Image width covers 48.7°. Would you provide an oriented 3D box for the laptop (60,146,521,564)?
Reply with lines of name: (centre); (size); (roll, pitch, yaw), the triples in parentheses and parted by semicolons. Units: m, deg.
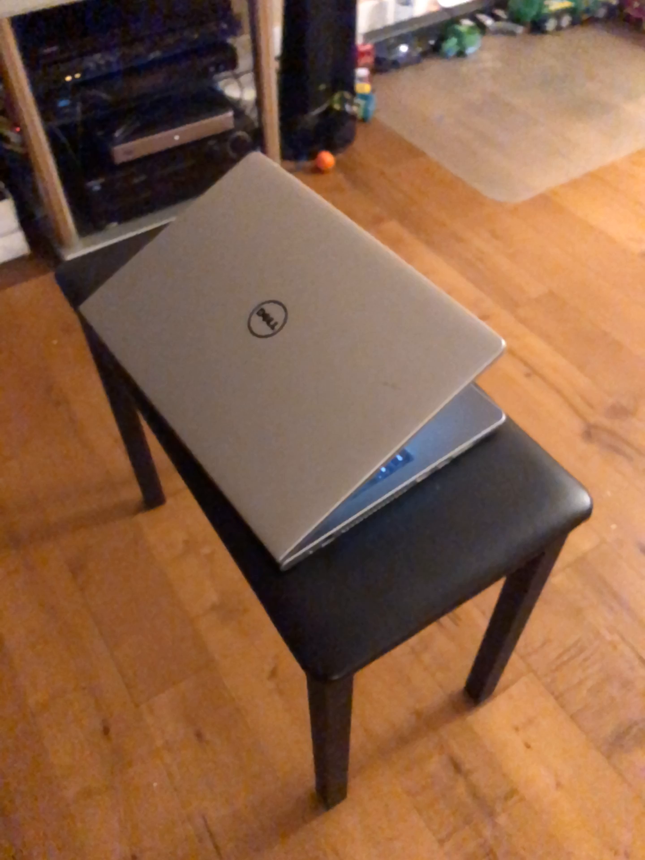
laptop: (-0.044, -0.100, 0.671); (0.248, 0.107, 0.367); (-31, 56, -21)
